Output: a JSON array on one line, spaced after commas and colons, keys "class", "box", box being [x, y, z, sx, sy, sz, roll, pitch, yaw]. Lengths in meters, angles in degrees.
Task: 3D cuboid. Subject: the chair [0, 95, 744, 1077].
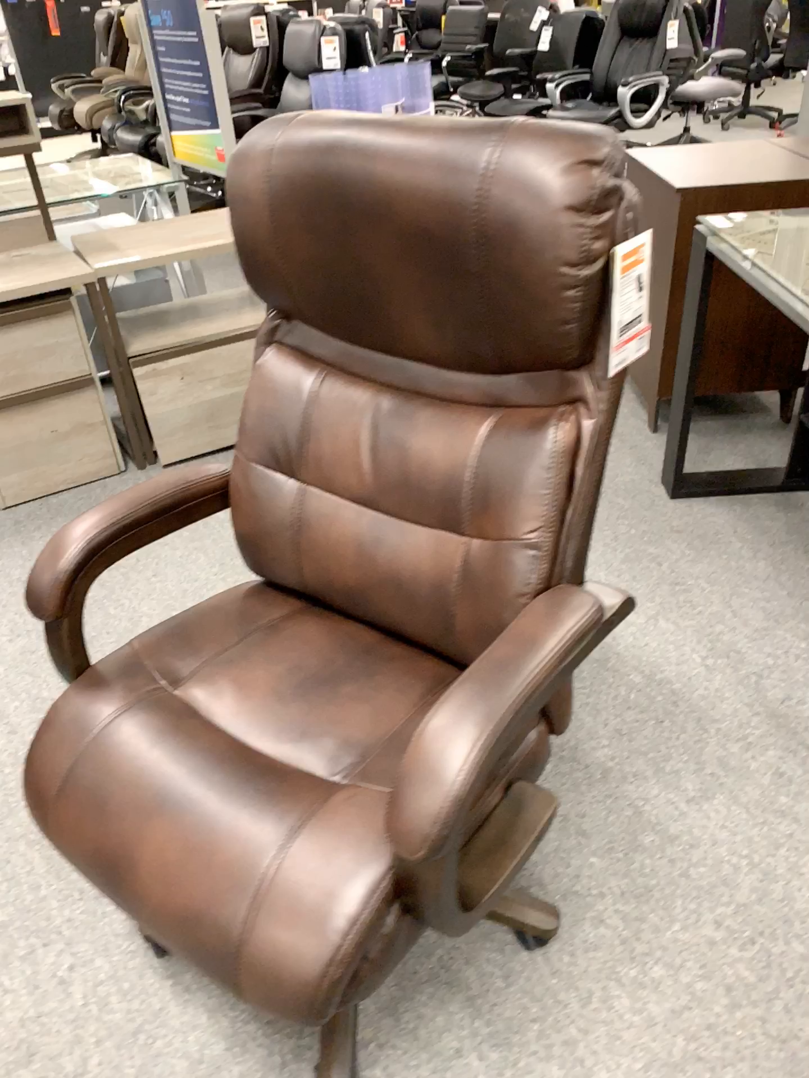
[{"class": "chair", "box": [-0.126, 0.096, 1.074, 0.712, 1.094, 0.702, 20, 41, 31]}]
